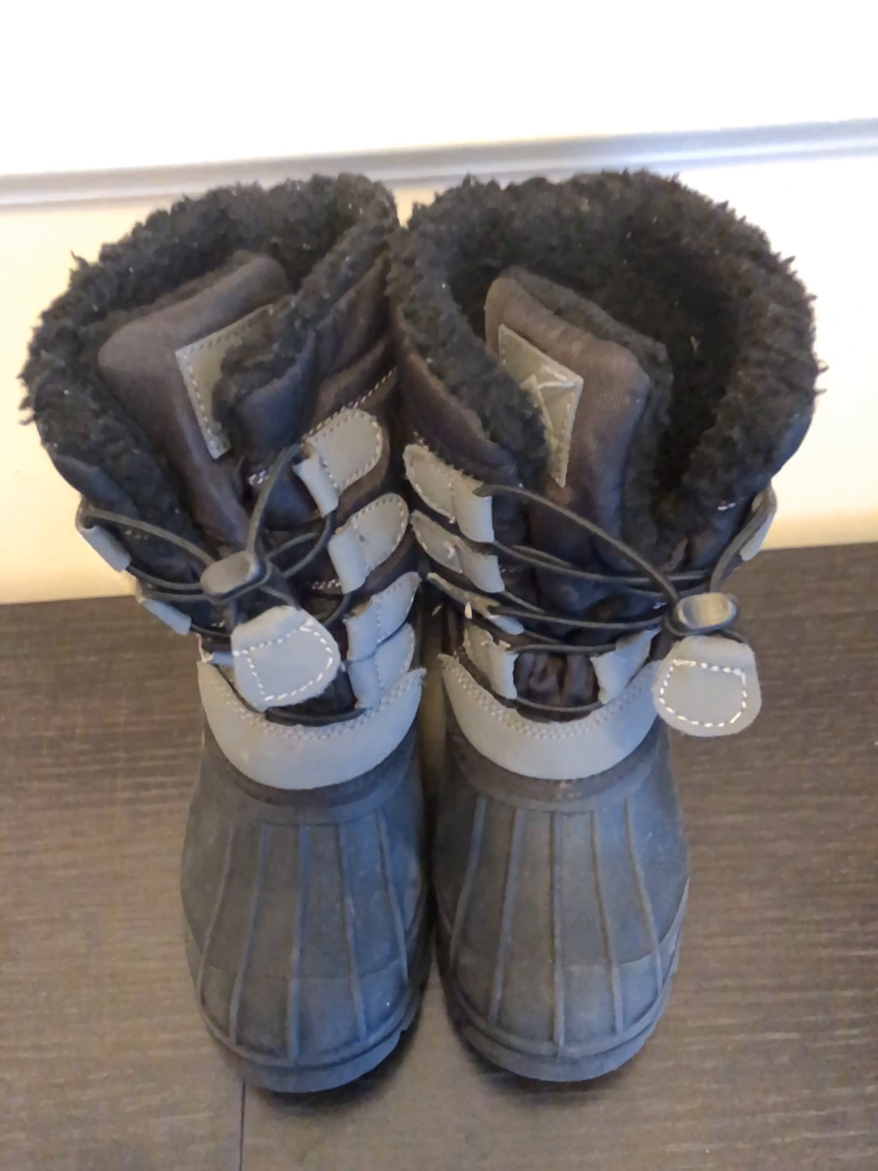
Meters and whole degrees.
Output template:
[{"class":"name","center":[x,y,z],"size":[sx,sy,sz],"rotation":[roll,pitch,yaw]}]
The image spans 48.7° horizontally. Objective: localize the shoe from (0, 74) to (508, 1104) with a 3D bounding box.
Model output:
[{"class":"shoe","center":[-0.040,0.010,0.288],"size":[0.100,0.209,0.221],"rotation":[-2,53,0]}]

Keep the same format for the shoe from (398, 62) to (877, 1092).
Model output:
[{"class":"shoe","center":[0.045,0.007,0.288],"size":[0.100,0.209,0.221],"rotation":[-2,53,0]}]
